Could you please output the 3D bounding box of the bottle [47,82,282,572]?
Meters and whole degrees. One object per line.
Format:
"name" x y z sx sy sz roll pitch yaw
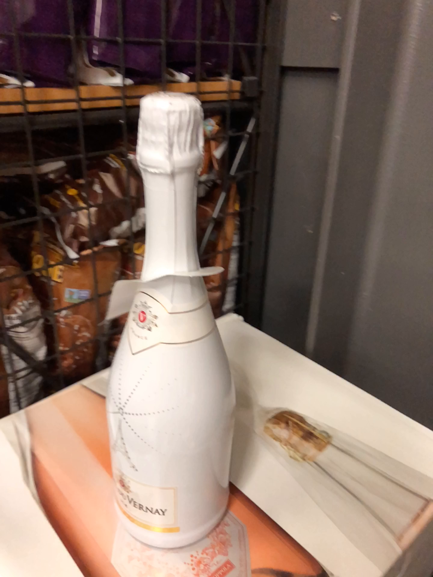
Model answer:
"bottle" -0.031 0.031 0.327 0.086 0.310 0.094 1 25 -1
